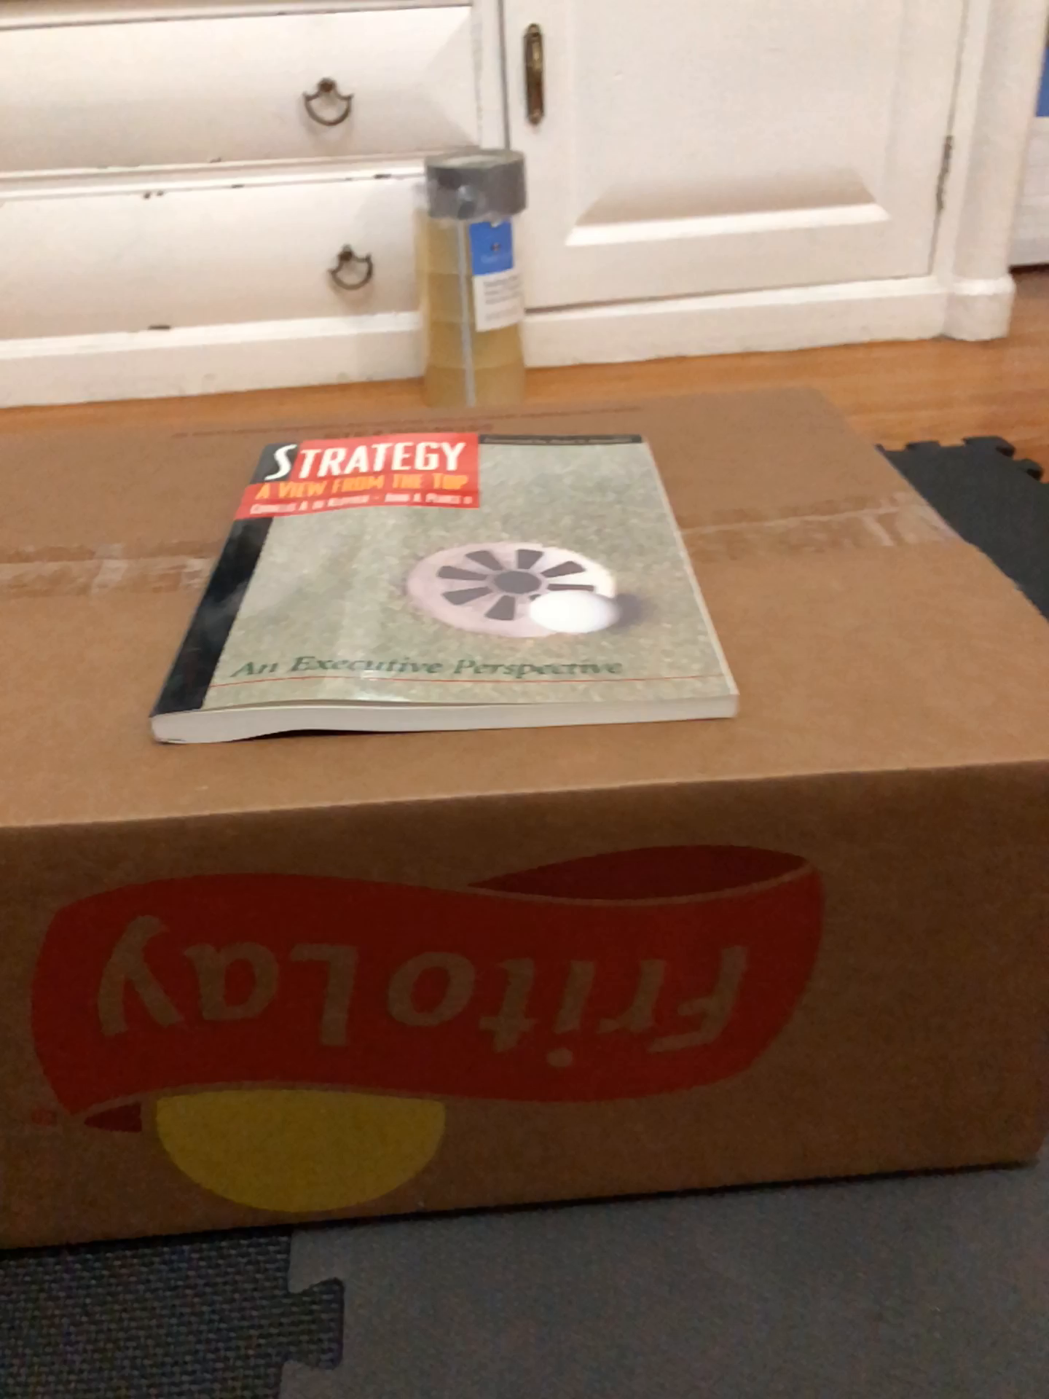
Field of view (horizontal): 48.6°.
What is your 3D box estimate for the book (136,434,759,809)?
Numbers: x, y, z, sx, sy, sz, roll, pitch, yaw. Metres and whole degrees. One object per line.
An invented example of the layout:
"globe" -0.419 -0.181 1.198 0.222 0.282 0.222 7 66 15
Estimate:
"book" -0.025 -0.045 0.442 0.180 0.020 0.241 -3 32 0
